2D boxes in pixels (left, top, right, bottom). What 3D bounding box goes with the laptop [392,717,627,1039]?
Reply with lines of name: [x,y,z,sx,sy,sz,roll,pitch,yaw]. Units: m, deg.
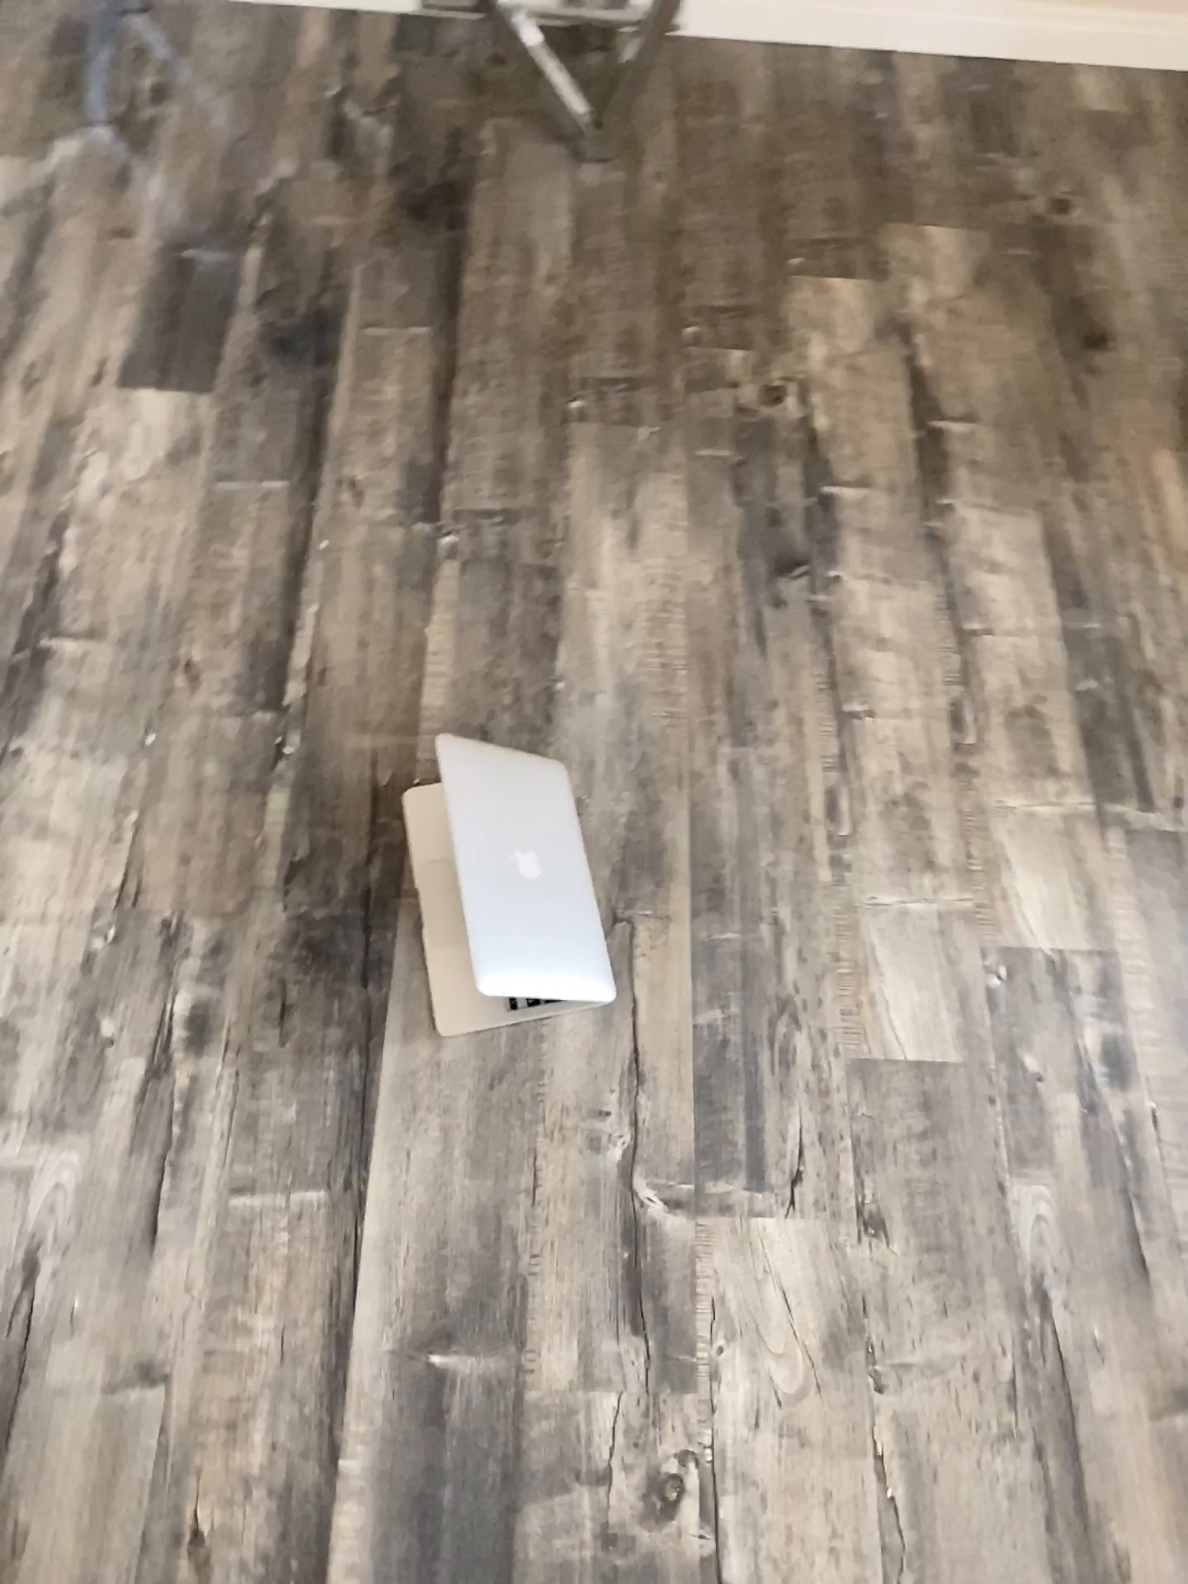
laptop: [-0.087,0.081,1.183,0.172,0.113,0.271,-8,64,-10]
